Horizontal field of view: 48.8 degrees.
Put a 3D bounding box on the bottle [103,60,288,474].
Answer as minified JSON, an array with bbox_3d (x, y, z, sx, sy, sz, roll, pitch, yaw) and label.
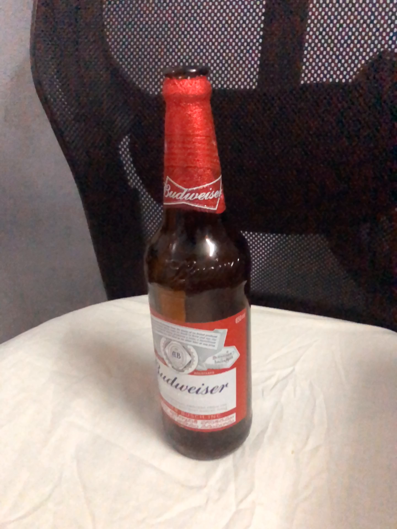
[{"bbox_3d":[0.006,0.013,0.305,0.080,0.279,0.070,10,31,20],"label":"bottle"}]
